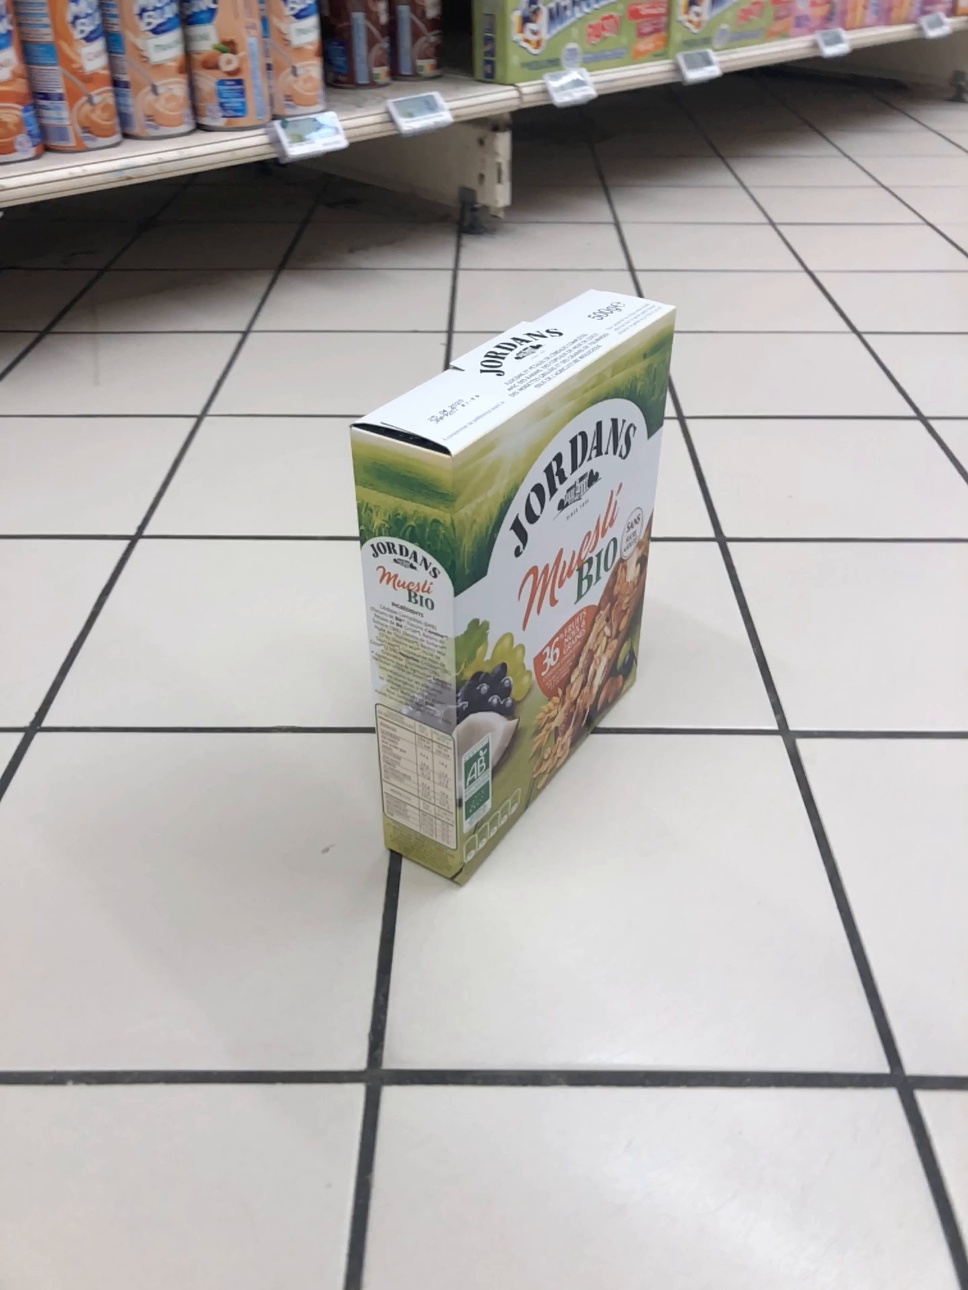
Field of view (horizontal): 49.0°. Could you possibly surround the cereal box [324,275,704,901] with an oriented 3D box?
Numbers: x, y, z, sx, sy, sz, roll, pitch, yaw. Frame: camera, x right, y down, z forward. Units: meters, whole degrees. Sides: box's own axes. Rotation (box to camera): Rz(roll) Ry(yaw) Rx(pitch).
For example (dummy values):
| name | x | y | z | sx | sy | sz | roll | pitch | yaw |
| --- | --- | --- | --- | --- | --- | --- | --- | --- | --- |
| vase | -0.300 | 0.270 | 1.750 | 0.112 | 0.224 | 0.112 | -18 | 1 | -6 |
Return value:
| name | x | y | z | sx | sy | sz | roll | pitch | yaw |
| --- | --- | --- | --- | --- | --- | --- | --- | --- | --- |
| cereal box | 0.021 | -0.031 | 0.477 | 0.060 | 0.209 | 0.191 | 20 | 40 | 26 |
